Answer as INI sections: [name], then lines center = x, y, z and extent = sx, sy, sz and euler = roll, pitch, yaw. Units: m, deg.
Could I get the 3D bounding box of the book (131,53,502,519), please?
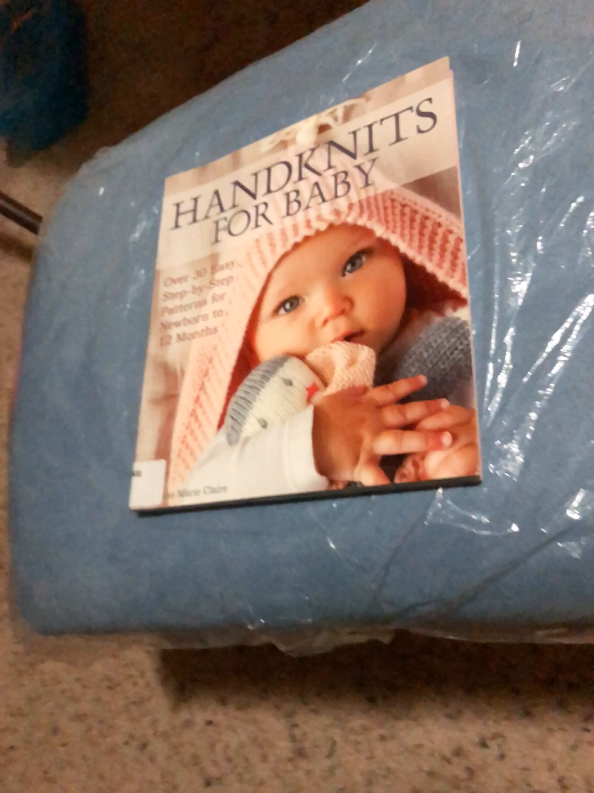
[book]
center = 0.000, -0.052, 0.358
extent = 0.197, 0.020, 0.220
euler = -11, 67, 30
